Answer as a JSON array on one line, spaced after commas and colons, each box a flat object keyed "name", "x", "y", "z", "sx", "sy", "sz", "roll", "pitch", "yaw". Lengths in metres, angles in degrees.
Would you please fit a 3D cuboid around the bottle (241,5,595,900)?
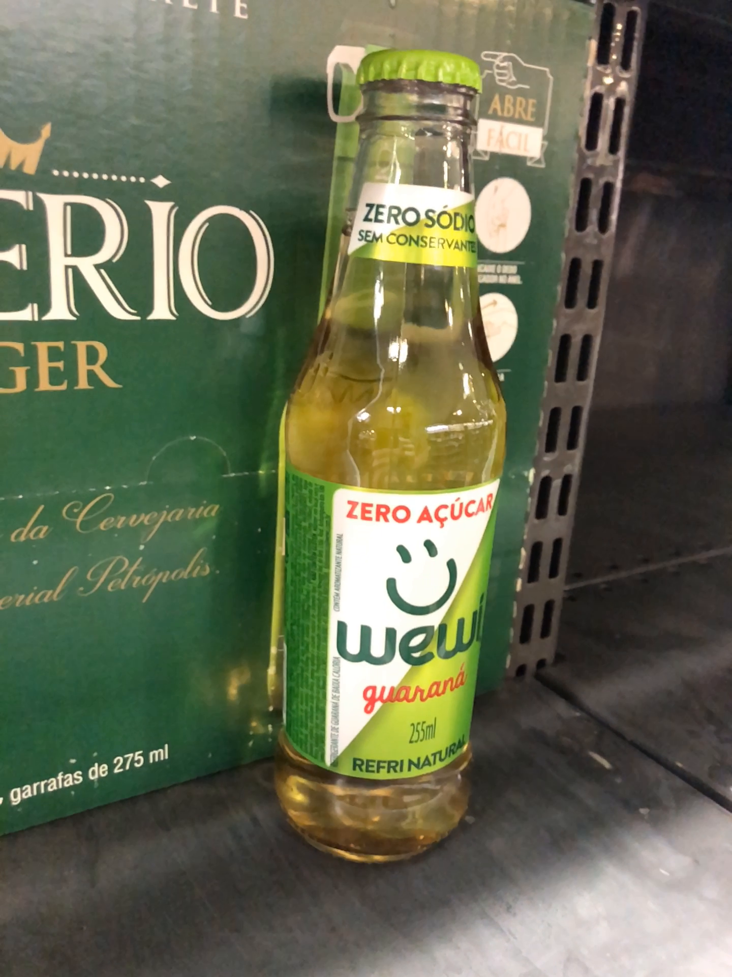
[{"name": "bottle", "x": 0.004, "y": -0.001, "z": 0.209, "sx": 0.060, "sy": 0.199, "sz": 0.050, "roll": -2, "pitch": 18, "yaw": -18}]
